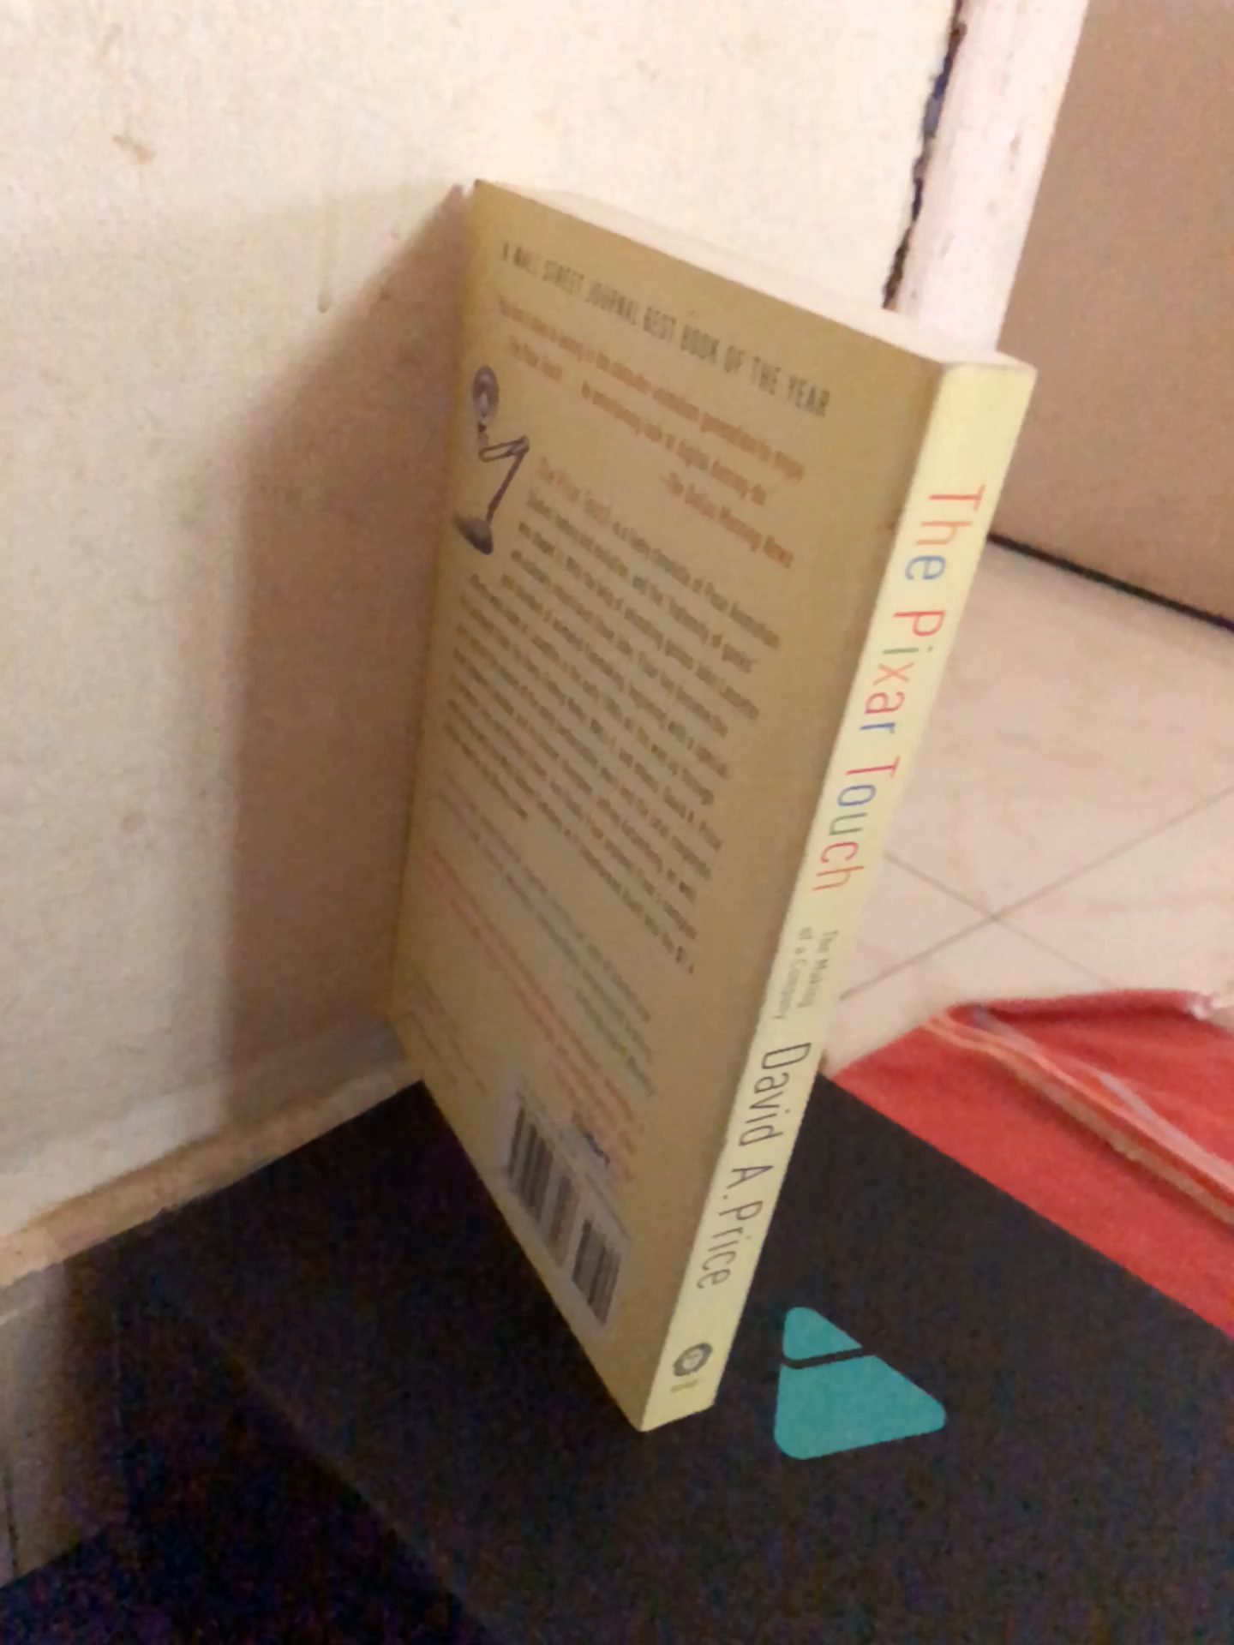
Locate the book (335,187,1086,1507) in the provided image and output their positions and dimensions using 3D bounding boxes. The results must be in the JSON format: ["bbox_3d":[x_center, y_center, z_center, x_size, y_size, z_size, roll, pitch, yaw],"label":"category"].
[{"bbox_3d":[-0.006,0.000,0.261,0.030,0.199,0.140,-7,32,-31],"label":"book"}]
